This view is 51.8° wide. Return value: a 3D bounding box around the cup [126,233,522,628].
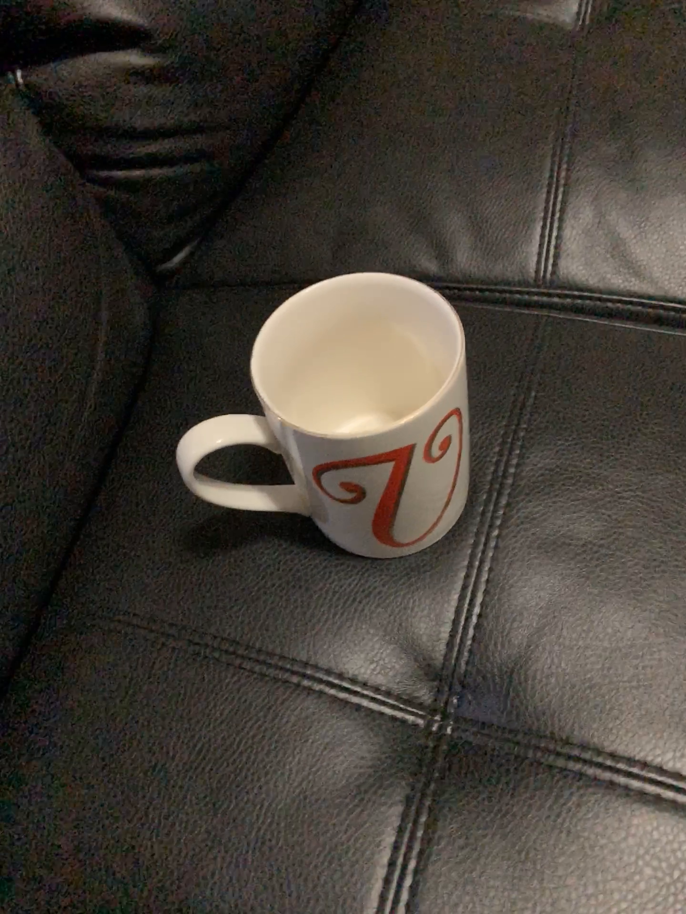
[{"bbox_3d":[-0.006,-0.009,0.325,0.138,0.106,0.098,-20,54,-2],"label":"cup"}]
